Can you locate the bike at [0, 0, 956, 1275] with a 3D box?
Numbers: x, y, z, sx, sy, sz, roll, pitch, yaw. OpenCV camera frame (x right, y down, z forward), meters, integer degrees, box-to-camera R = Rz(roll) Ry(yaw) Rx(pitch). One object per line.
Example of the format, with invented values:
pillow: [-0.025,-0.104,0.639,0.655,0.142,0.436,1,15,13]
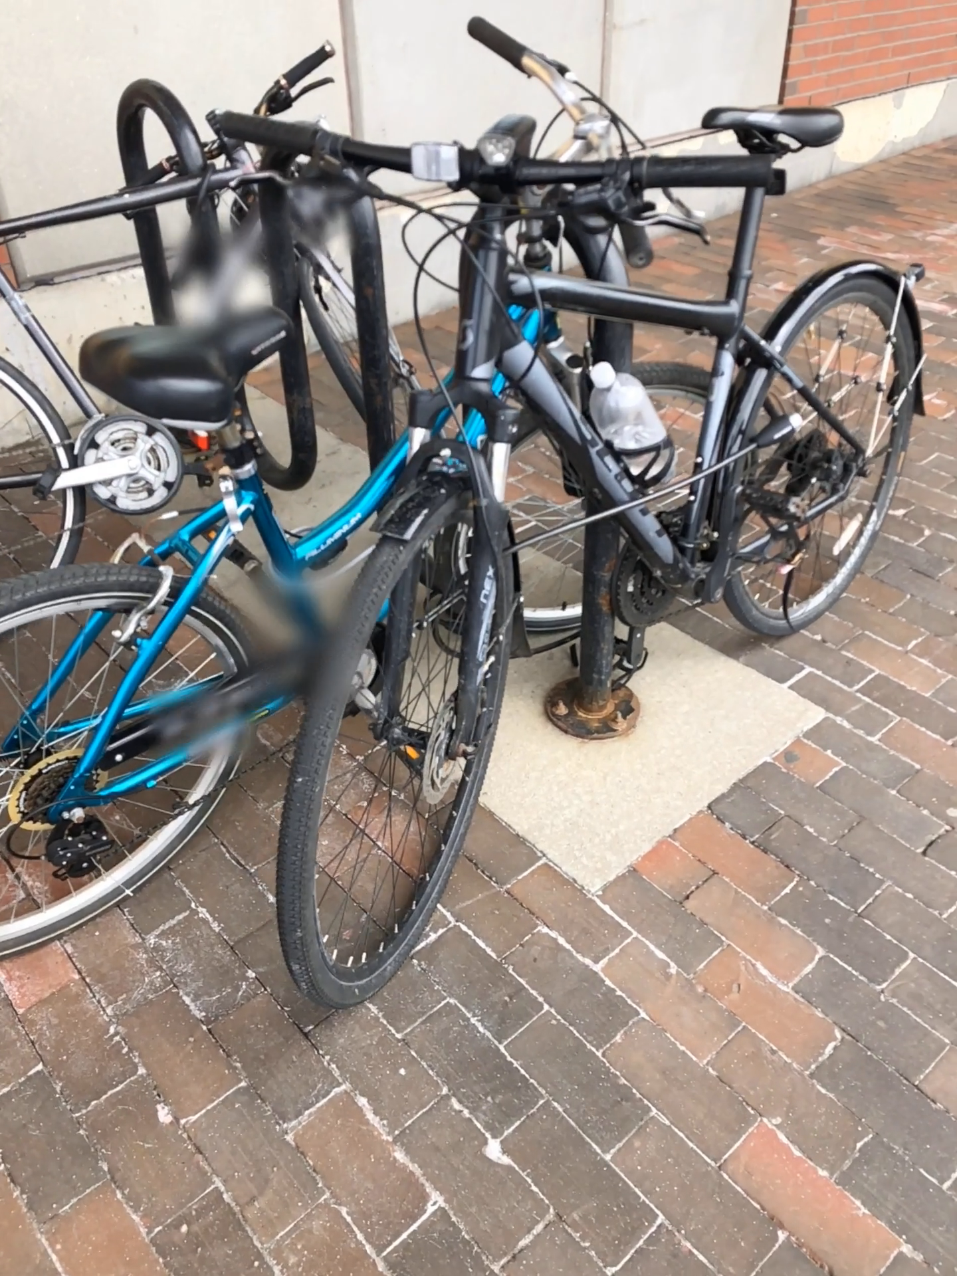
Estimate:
bike: [0.243,-0.197,1.437,0.674,0.939,1.516,27,47,32]
